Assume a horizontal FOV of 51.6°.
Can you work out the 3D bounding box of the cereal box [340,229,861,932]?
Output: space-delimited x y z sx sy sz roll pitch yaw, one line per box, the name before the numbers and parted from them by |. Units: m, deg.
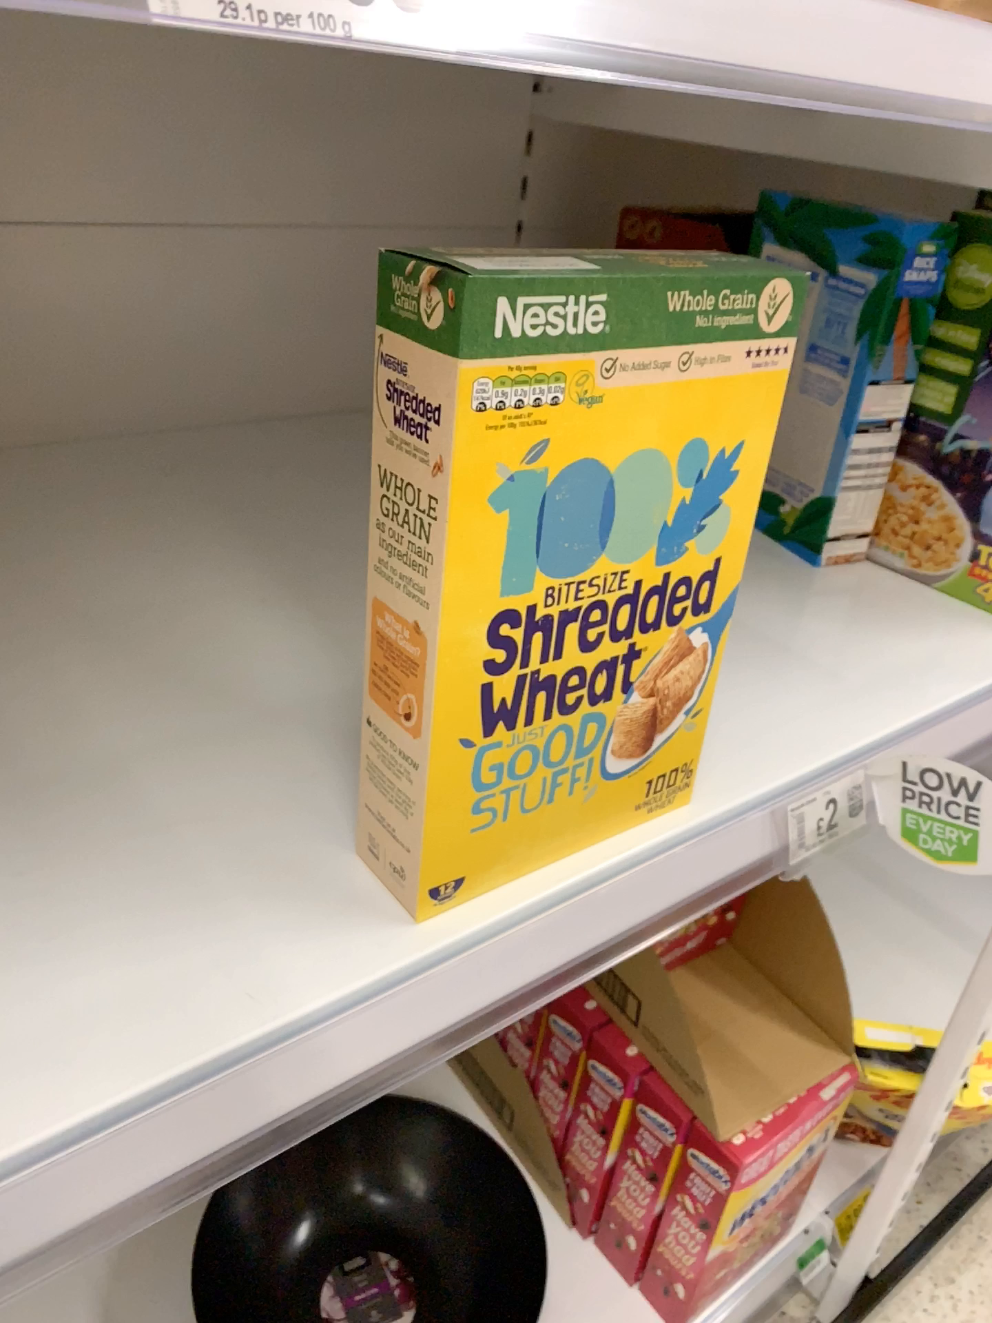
cereal box | 0.041 -0.042 0.471 0.211 0.278 0.070 -16 34 -35
